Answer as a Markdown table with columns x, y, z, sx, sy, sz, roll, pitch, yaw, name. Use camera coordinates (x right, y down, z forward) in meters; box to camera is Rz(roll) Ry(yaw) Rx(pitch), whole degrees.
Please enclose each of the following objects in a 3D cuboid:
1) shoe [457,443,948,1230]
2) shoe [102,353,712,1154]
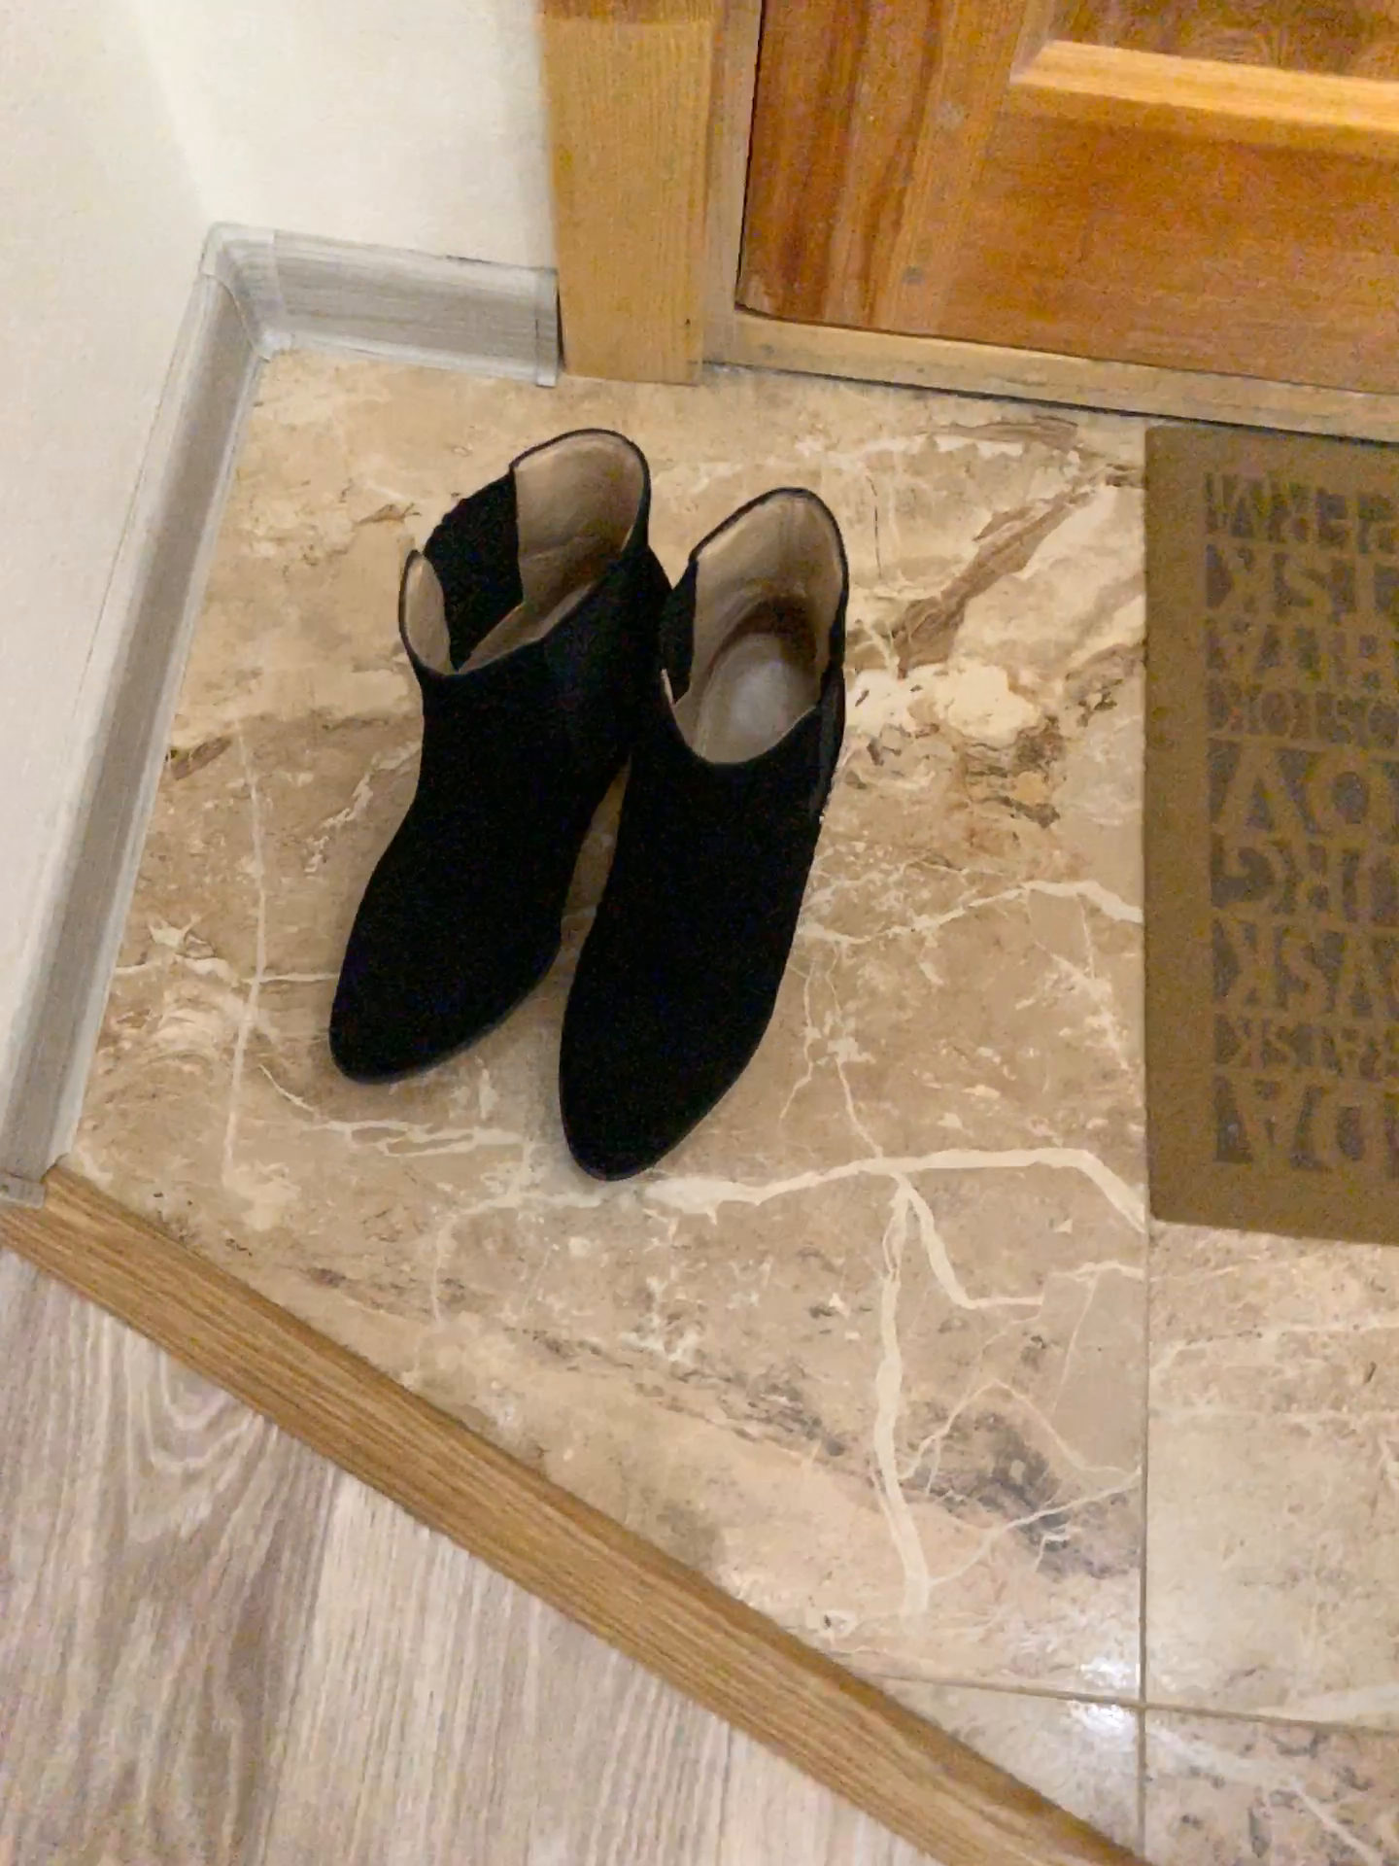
| x | y | z | sx | sy | sz | roll | pitch | yaw | name |
| --- | --- | --- | --- | --- | --- | --- | --- | --- | --- |
| 0.002 | -0.020 | 0.529 | 0.086 | 0.199 | 0.215 | 18 | 71 | 4 | shoe |
| -0.087 | -0.051 | 0.530 | 0.086 | 0.199 | 0.214 | 26 | 72 | 6 | shoe |
